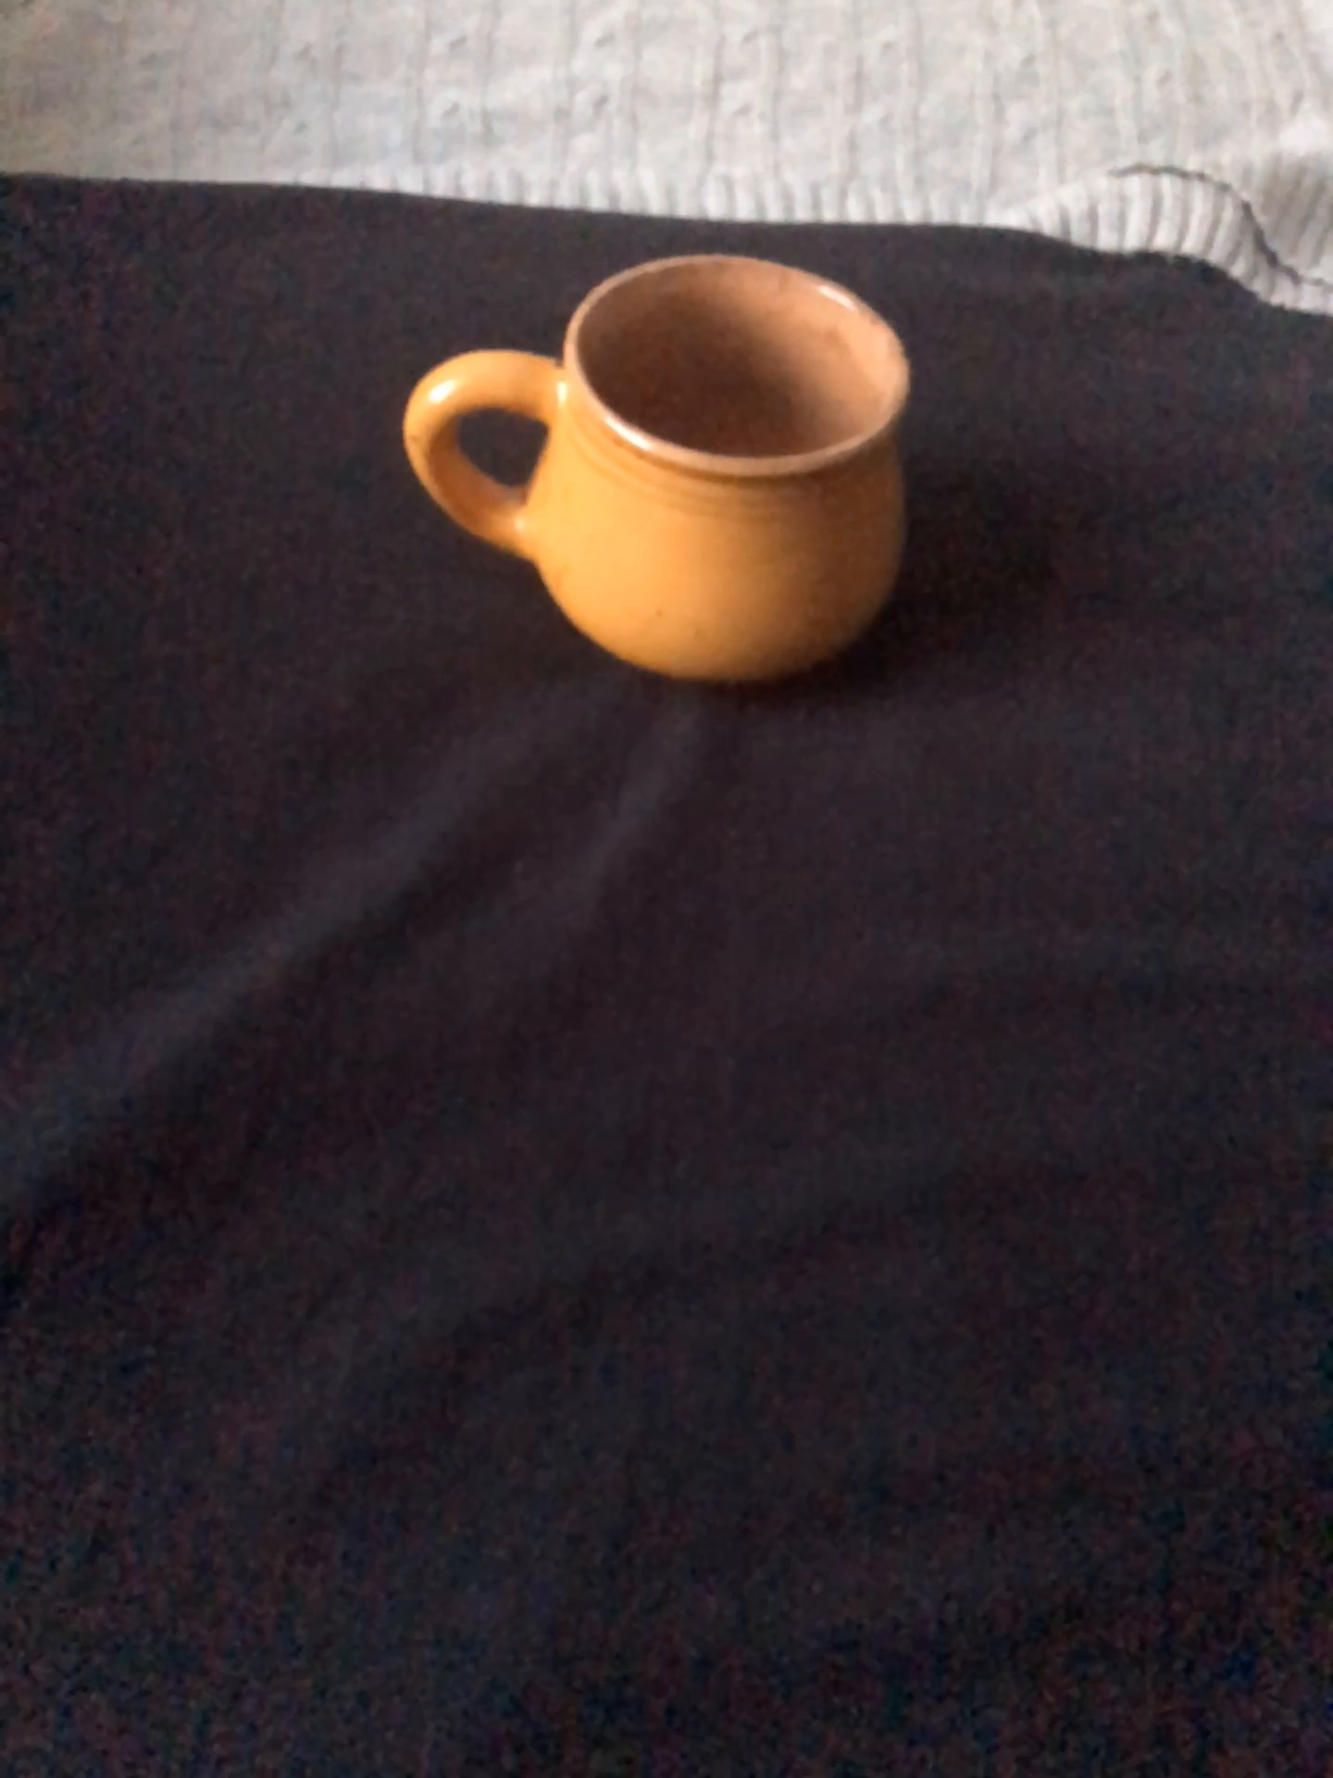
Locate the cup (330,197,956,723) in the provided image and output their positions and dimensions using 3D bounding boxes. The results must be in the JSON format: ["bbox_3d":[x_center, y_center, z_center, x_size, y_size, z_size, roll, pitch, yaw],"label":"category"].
[{"bbox_3d":[-0.002,-0.095,0.330,0.119,0.058,0.082,9,52,0],"label":"cup"}]
